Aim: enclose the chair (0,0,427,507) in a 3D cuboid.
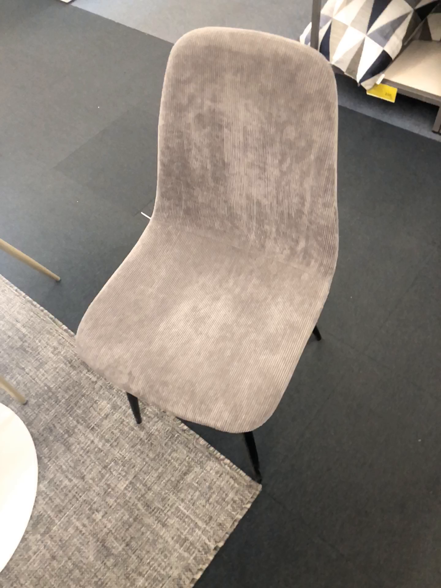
[{"bbox_3d":[-0.033,-0.033,1.053,0.581,0.808,0.581,22,61,19],"label":"chair"}]
